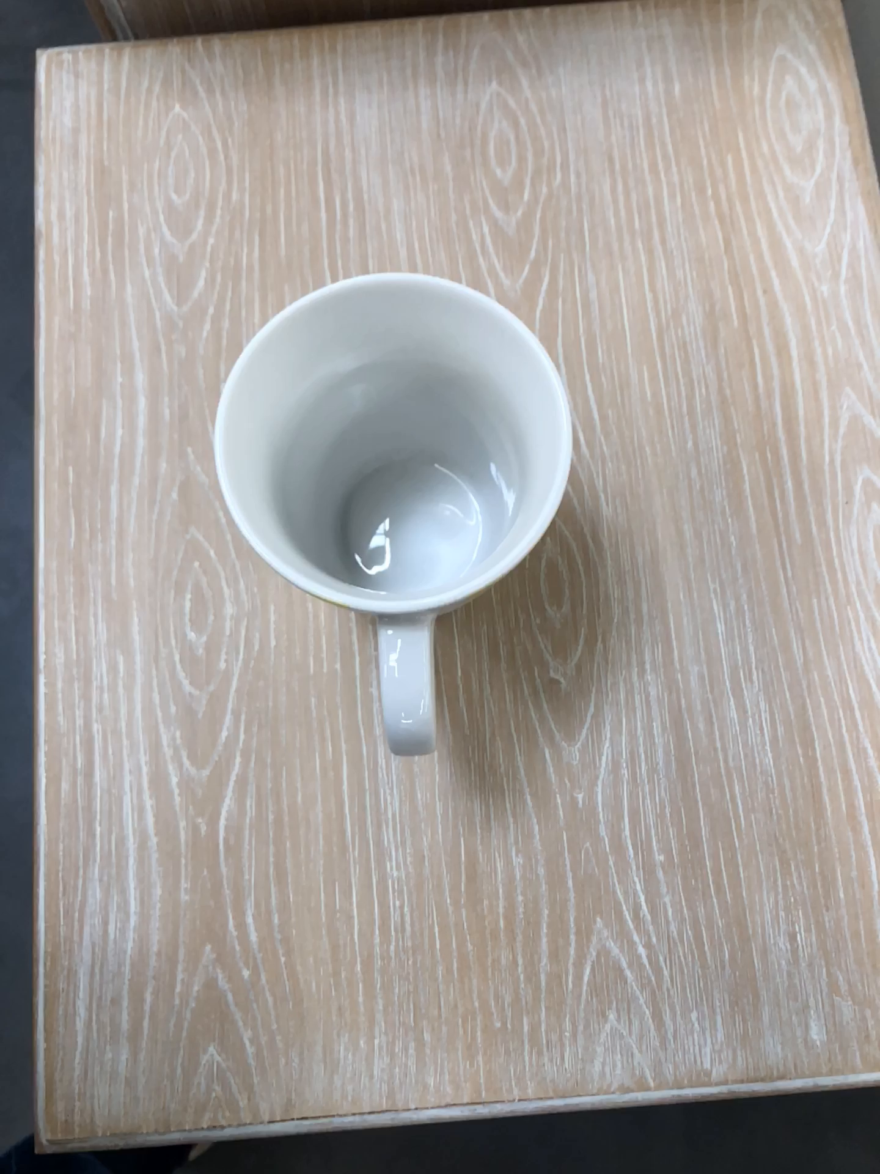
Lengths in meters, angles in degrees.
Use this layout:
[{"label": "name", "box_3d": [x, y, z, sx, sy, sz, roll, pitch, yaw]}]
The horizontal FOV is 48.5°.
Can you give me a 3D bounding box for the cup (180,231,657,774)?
[{"label": "cup", "box_3d": [-0.008, -0.016, 0.285, 0.102, 0.090, 0.125, -8, 78, -1]}]
